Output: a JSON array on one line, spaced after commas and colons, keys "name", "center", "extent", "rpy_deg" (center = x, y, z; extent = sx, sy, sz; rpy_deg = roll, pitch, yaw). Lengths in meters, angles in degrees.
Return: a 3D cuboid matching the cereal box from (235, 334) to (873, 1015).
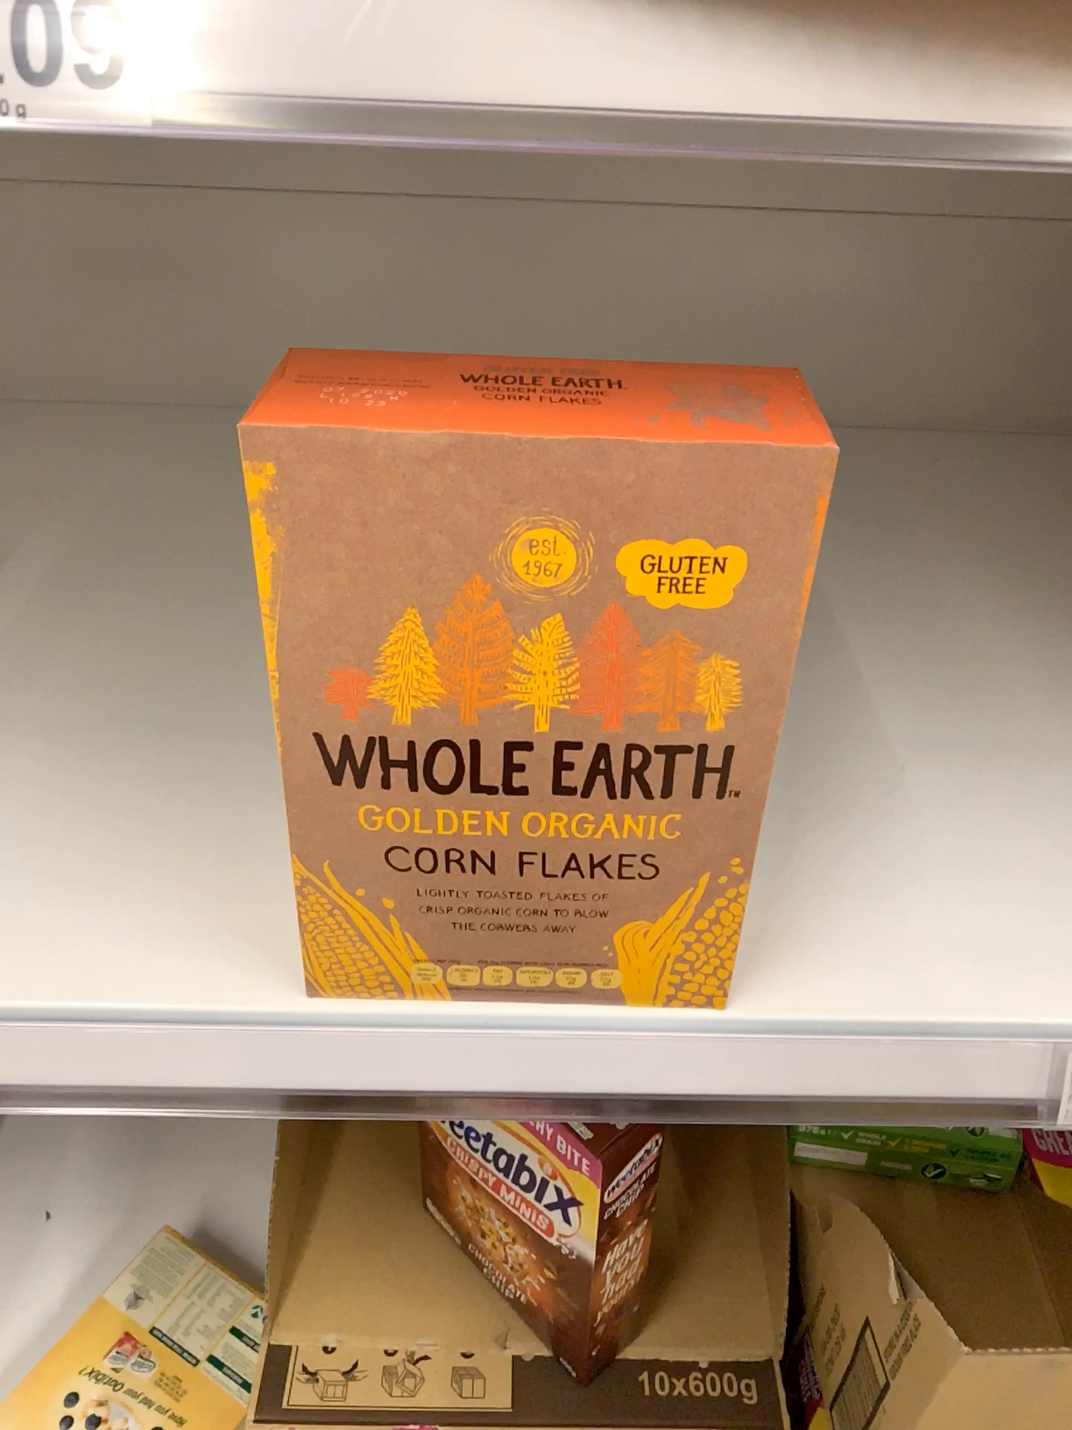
[{"name": "cereal box", "center": [0.002, -0.005, 0.458], "extent": [0.200, 0.267, 0.091], "rpy_deg": [2, 35, -1]}]
